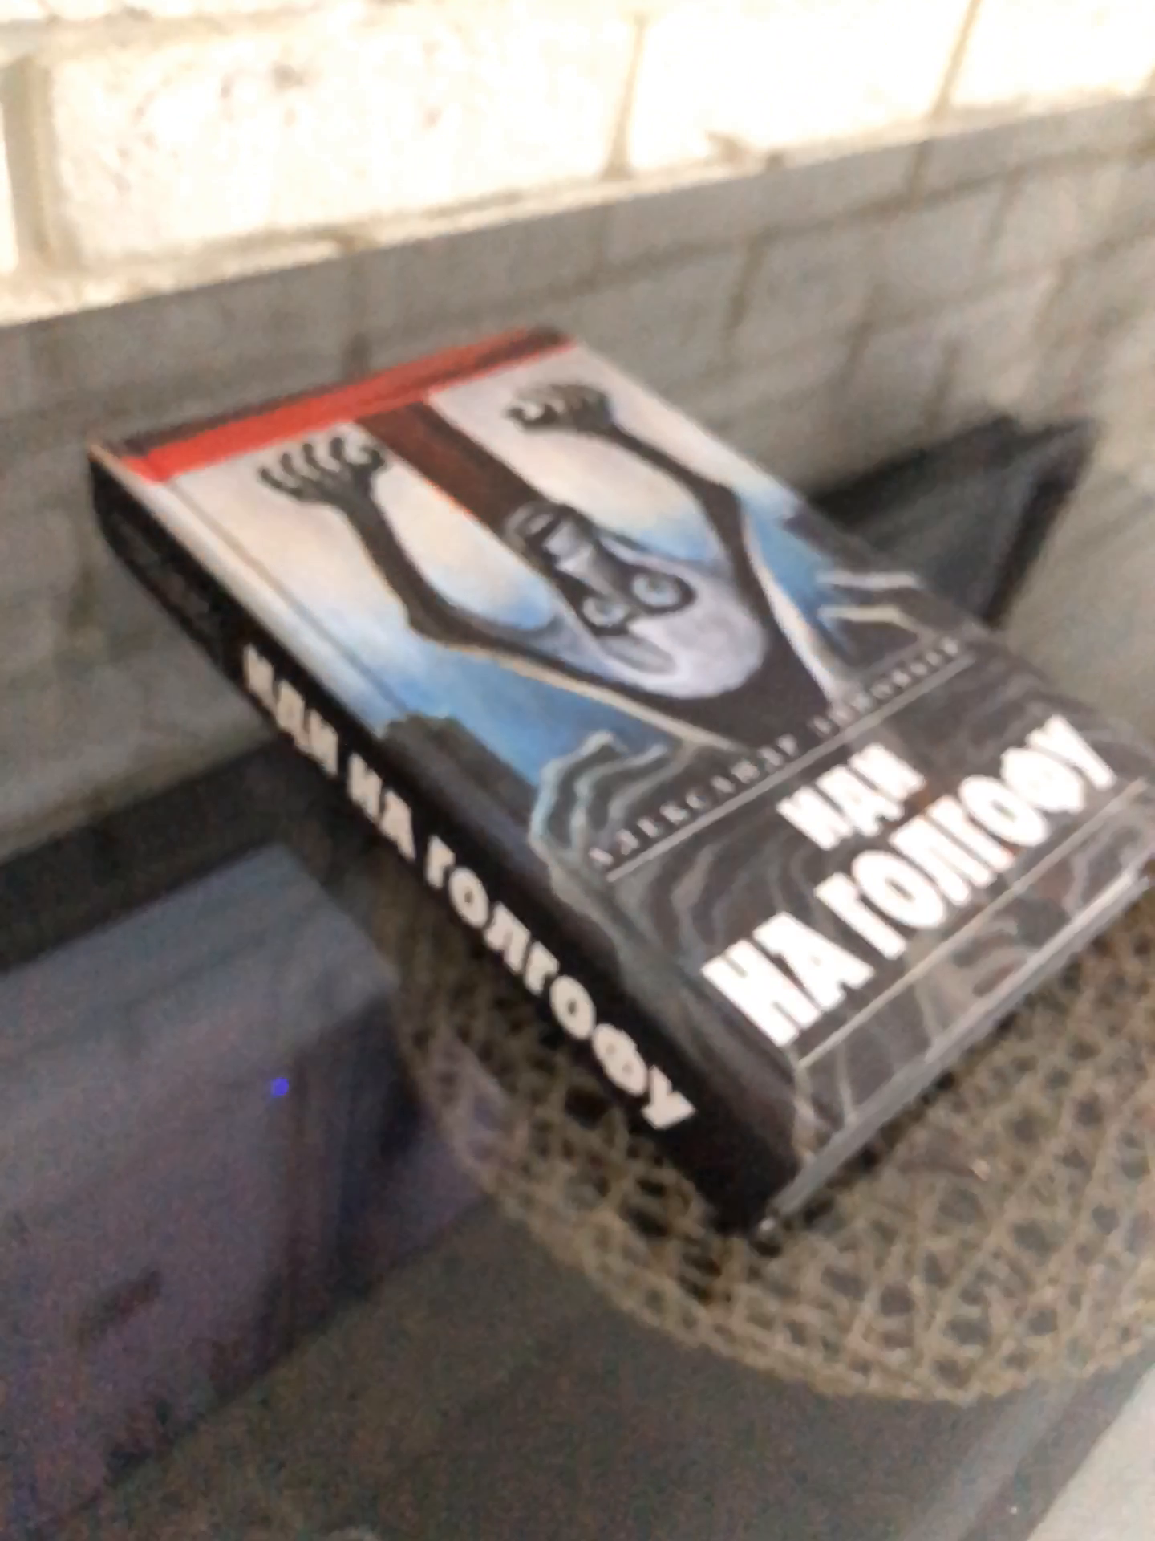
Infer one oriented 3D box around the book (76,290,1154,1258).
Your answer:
[{"bbox_3d":[0.014,-0.027,0.266,0.141,0.030,0.200,-27,57,-34],"label":"book"}]
